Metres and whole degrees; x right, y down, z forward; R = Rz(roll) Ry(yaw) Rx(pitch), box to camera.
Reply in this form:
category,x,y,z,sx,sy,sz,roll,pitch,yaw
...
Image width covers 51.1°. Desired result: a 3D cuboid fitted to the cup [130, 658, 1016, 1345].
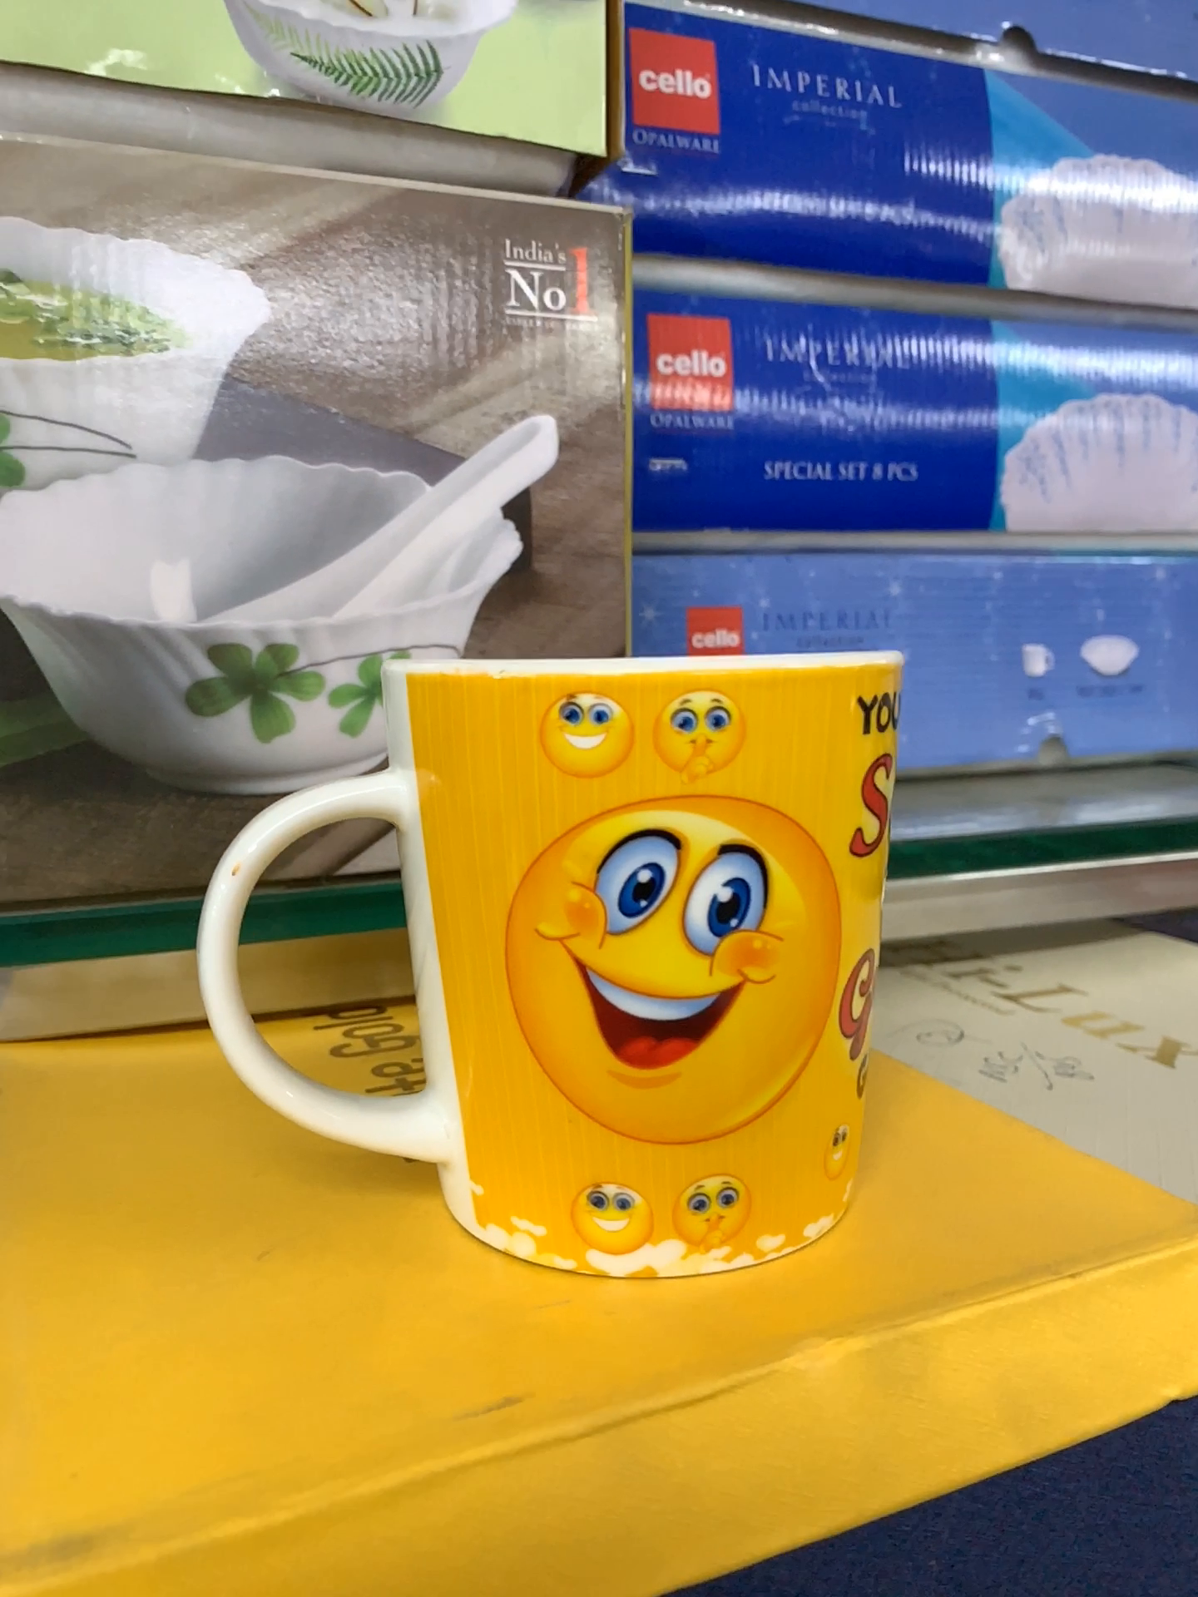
category,x,y,z,sx,sy,sz,roll,pitch,yaw
cup,-0.006,0.023,0.208,0.120,0.090,0.070,-1,8,-9
